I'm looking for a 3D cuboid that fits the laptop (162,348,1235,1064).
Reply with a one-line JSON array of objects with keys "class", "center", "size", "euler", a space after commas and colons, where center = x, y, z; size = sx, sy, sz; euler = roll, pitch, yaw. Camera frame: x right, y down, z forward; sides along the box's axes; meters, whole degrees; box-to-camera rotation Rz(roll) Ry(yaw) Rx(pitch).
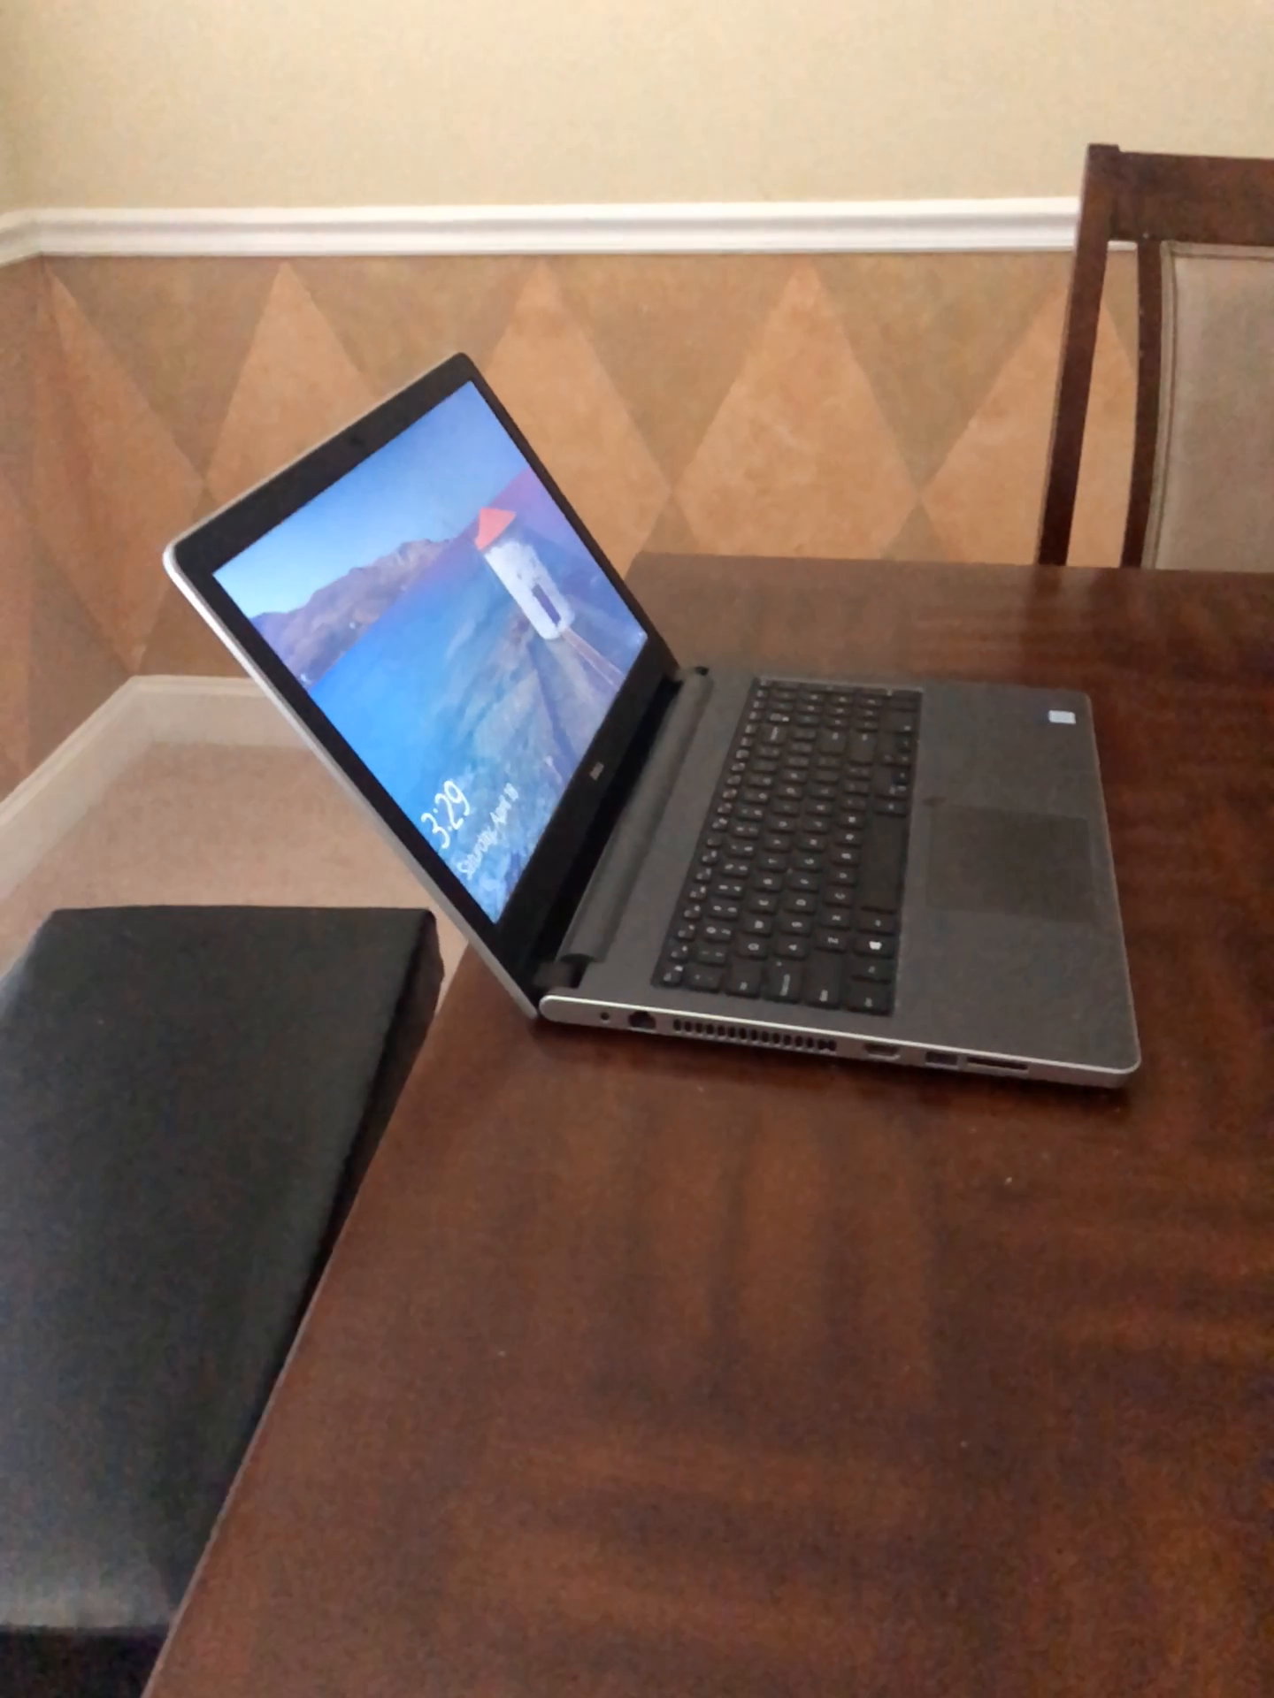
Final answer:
[{"class": "laptop", "center": [0.049, -0.108, 0.708], "size": [0.391, 0.198, 0.369], "euler": [5, 31, 10]}]
